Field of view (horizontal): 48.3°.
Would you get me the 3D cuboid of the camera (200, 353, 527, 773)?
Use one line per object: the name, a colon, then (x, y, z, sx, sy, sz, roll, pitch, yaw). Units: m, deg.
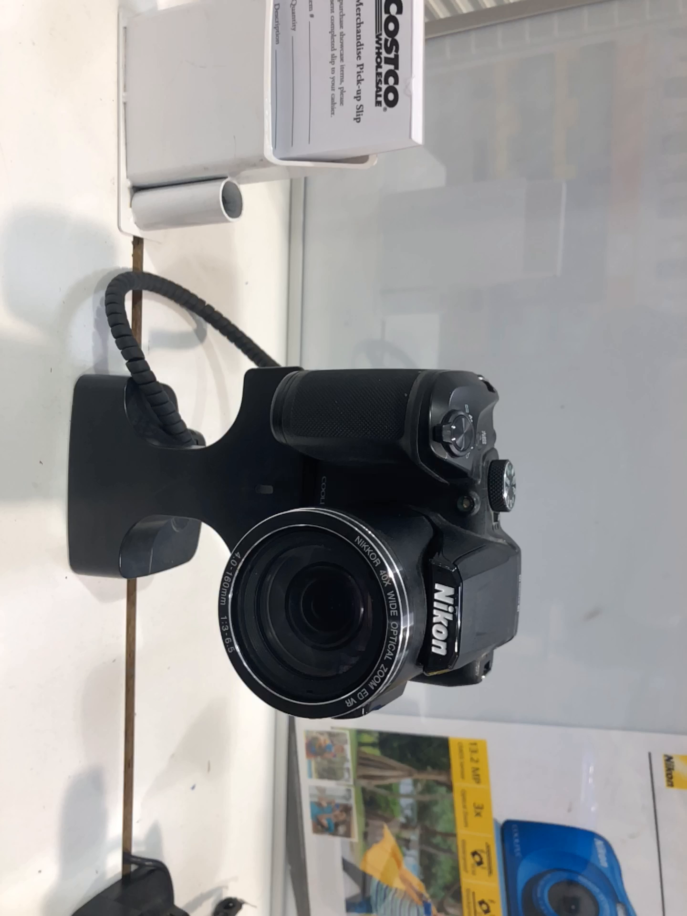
camera: (0.013, 0.026, 0.272, 0.101, 0.079, 0.116, -5, 97, -64)
